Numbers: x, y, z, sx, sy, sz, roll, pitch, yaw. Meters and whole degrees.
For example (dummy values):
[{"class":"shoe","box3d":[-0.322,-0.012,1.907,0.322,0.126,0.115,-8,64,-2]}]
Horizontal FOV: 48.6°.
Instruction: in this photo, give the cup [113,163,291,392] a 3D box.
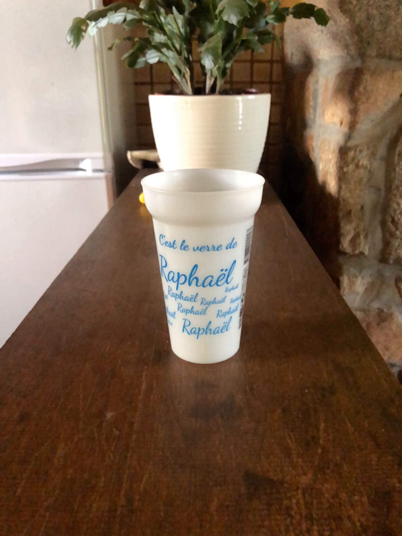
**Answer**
[{"class":"cup","box3d":[0.003,-0.002,0.299,0.080,0.119,0.080,0,21,0]}]
